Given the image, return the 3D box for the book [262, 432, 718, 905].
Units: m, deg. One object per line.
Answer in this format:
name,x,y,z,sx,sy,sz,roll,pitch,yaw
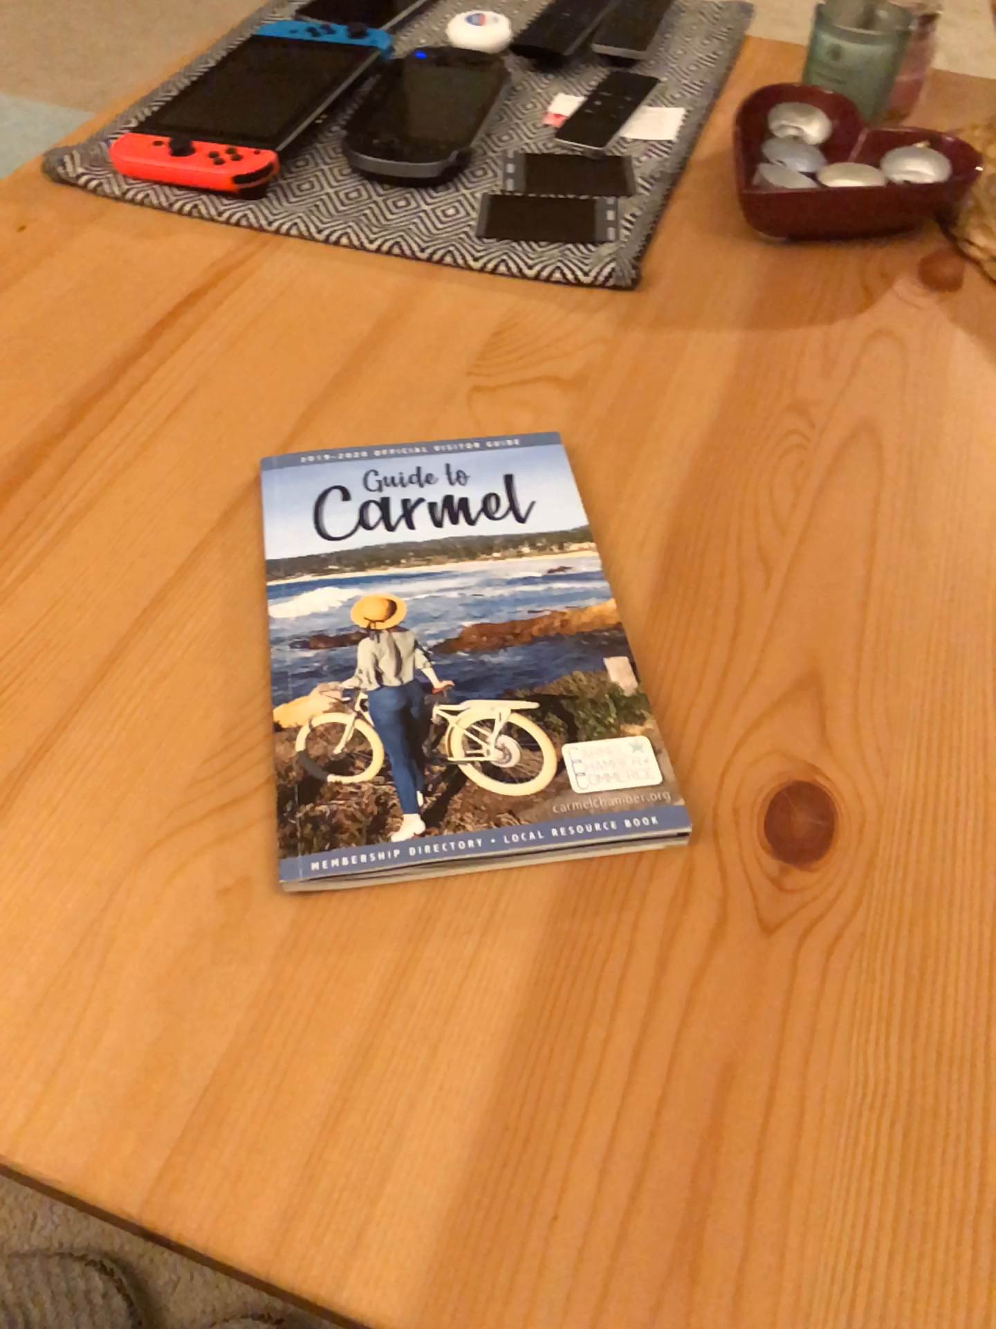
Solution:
book,-0.015,-0.014,0.410,0.137,0.010,0.208,-6,49,-8
